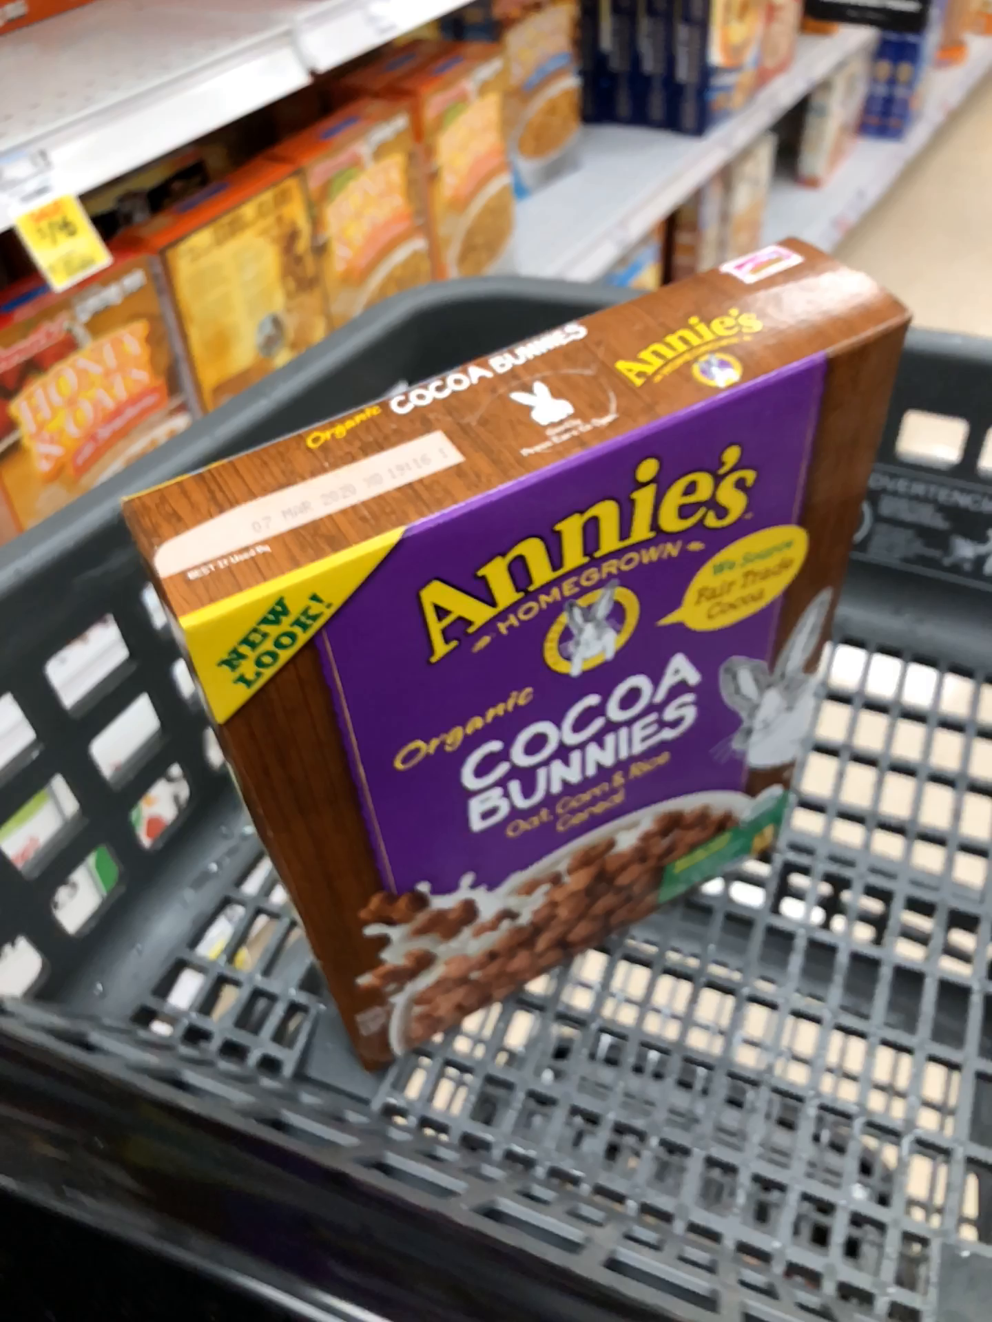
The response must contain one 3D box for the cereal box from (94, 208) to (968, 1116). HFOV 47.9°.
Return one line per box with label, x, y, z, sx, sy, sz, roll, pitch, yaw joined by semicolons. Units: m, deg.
cereal box;0.022;0.017;0.338;0.200;0.240;0.050;-25;50;-18
